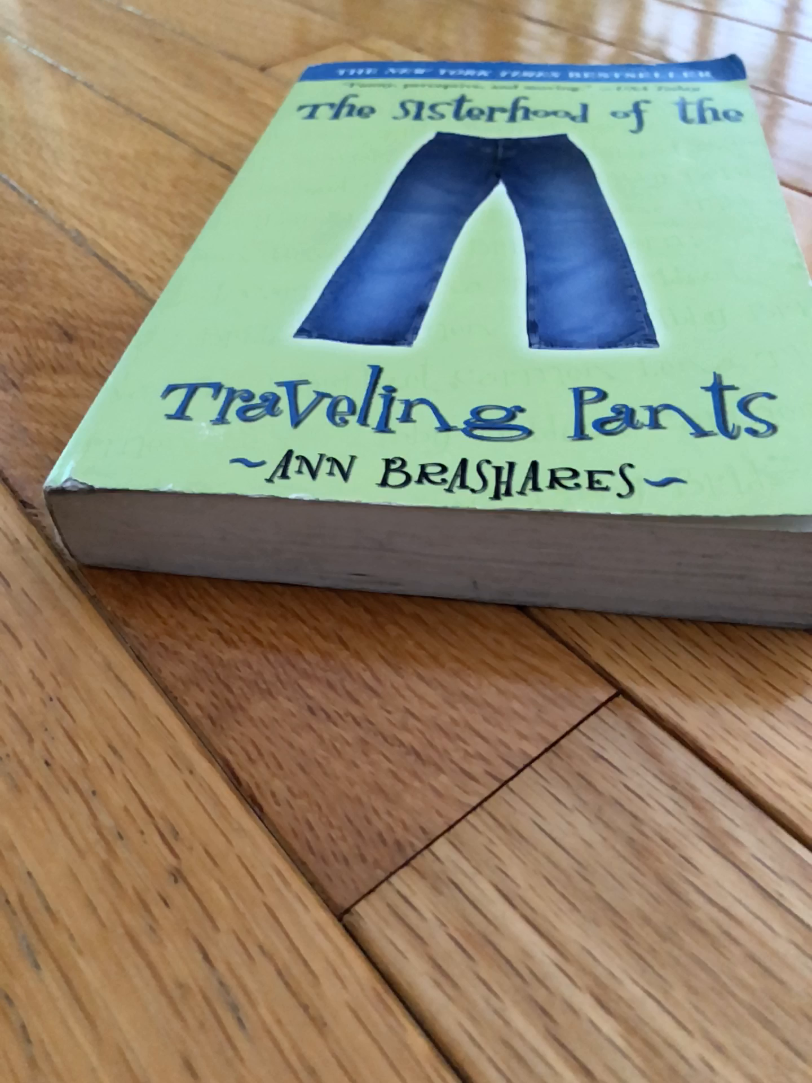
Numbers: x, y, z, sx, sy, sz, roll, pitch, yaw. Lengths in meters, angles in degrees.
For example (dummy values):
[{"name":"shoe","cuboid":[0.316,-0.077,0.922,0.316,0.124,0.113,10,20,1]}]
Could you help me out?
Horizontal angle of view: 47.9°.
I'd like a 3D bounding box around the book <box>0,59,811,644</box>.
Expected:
[{"name":"book","cuboid":[0.016,-0.071,0.224,0.141,0.025,0.210,5,45,8]}]
